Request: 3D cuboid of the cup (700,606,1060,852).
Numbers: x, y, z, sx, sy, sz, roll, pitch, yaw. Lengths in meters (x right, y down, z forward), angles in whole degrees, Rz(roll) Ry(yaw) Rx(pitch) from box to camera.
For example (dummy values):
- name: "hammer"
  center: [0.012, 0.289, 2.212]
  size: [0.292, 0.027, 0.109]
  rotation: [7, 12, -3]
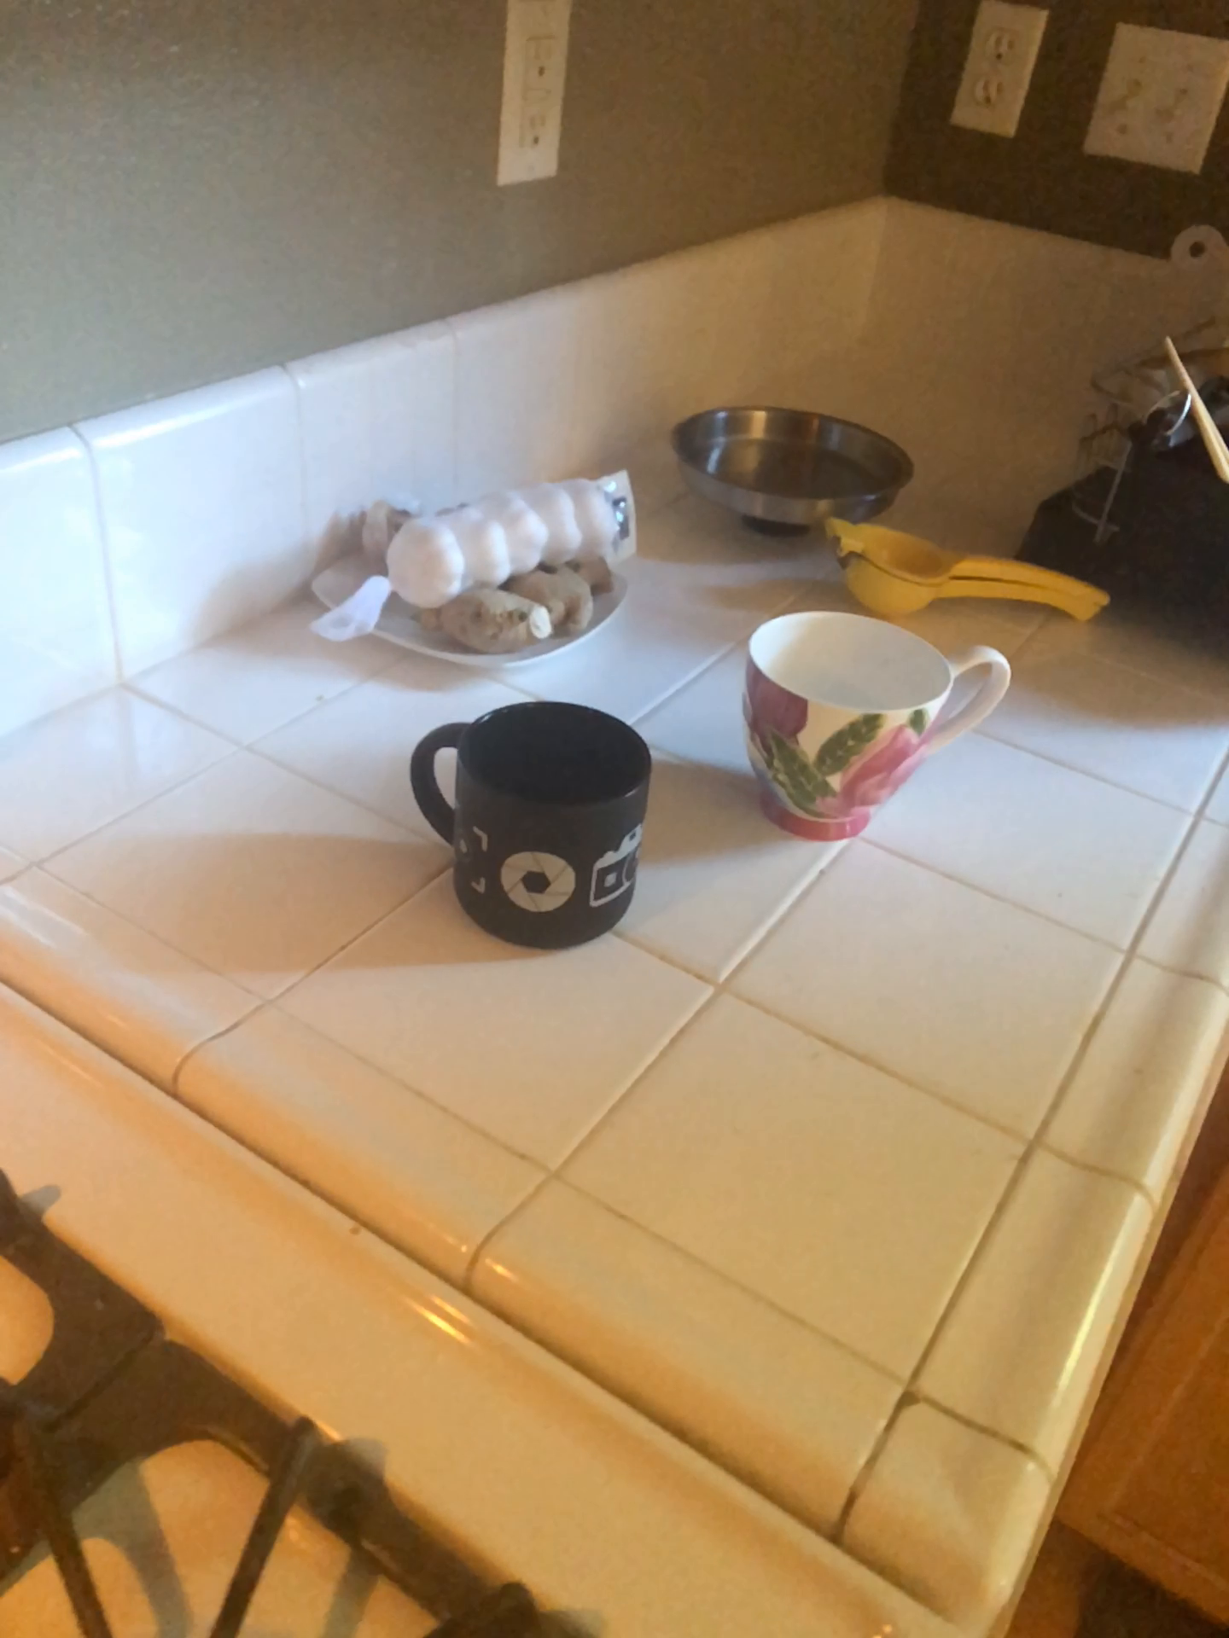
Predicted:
- name: "cup"
  center: [0.137, -0.051, 0.731]
  size: [0.150, 0.089, 0.101]
  rotation: [-2, 37, -13]

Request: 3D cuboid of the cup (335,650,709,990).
- name: "cup"
  center: [-0.045, -0.004, 0.646]
  size: [0.140, 0.079, 0.101]
  rotation: [22, 38, 19]
